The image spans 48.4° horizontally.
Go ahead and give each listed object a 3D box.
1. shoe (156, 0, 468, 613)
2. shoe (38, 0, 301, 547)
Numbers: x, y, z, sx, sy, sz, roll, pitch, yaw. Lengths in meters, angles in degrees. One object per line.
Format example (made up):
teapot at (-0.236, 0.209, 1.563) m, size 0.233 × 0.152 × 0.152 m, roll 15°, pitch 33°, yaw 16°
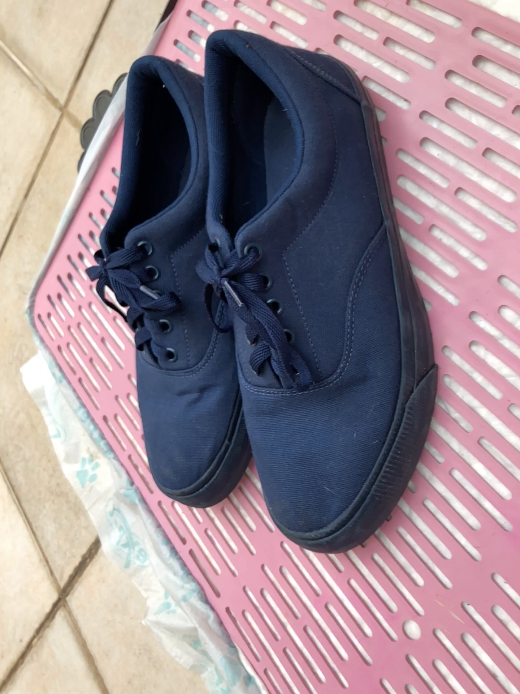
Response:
shoe at (0.024, -0.029, 0.298) m, size 0.108 × 0.100 × 0.270 m, roll -8°, pitch 82°, yaw 39°
shoe at (-0.053, -0.038, 0.352) m, size 0.108 × 0.100 × 0.270 m, roll 0°, pitch 87°, yaw 39°
